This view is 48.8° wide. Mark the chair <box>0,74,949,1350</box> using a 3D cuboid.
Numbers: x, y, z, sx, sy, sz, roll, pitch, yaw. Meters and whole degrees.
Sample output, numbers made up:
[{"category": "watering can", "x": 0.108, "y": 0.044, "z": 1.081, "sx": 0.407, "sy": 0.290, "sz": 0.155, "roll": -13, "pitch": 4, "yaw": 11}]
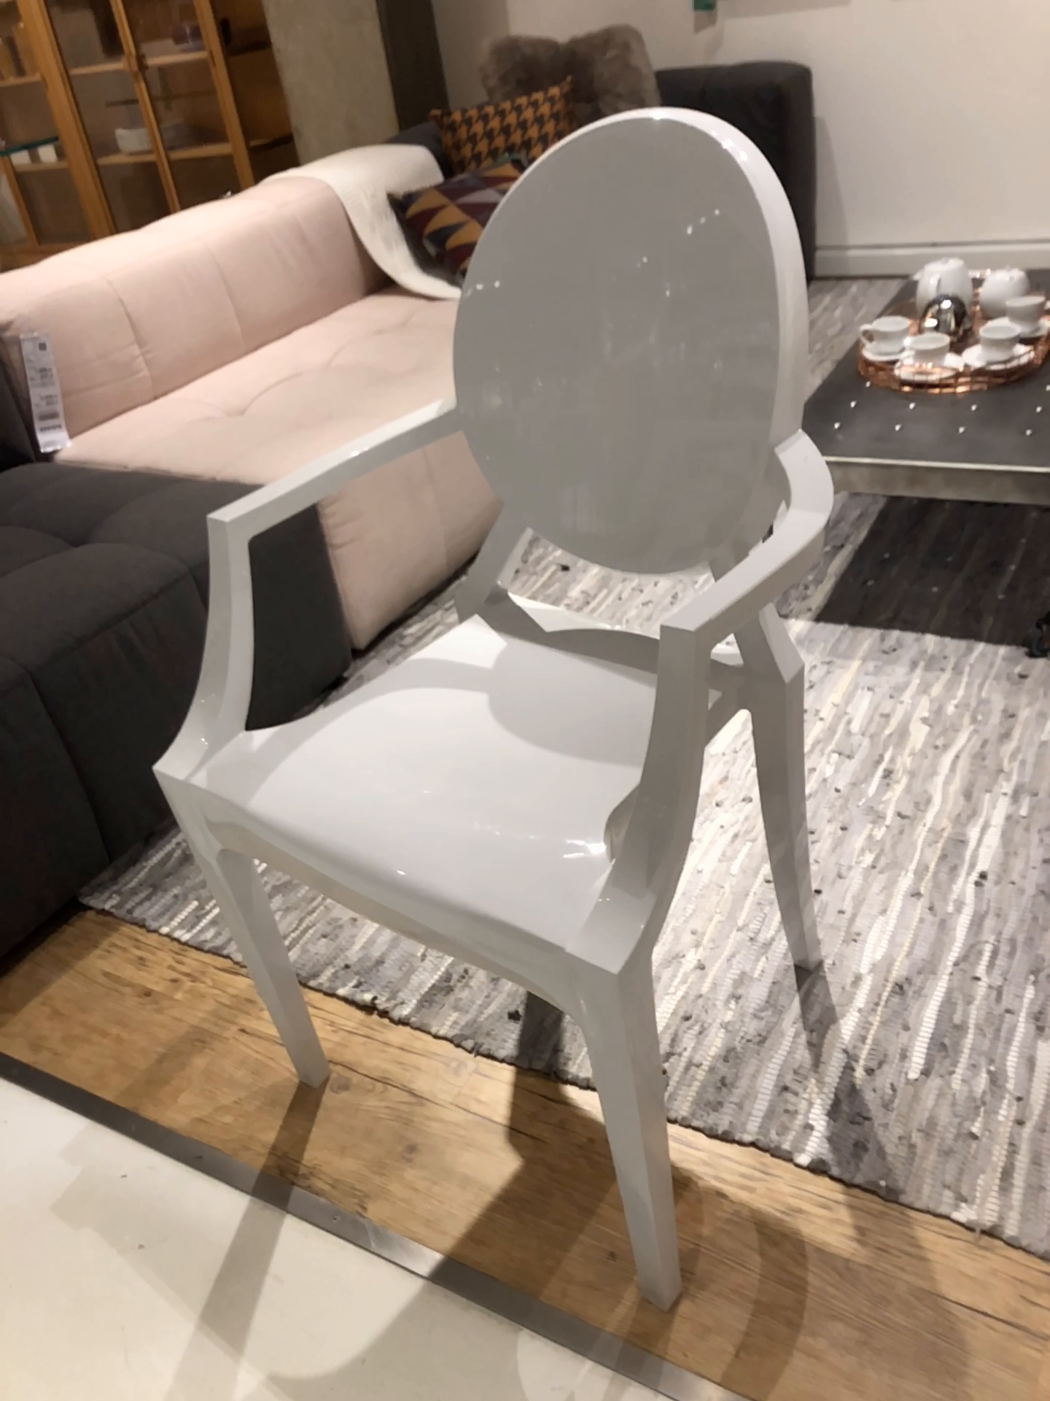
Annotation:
[{"category": "chair", "x": 0.007, "y": -0.023, "z": 1.040, "sx": 0.511, "sy": 0.844, "sz": 0.553, "roll": 15, "pitch": 40, "yaw": 35}]
